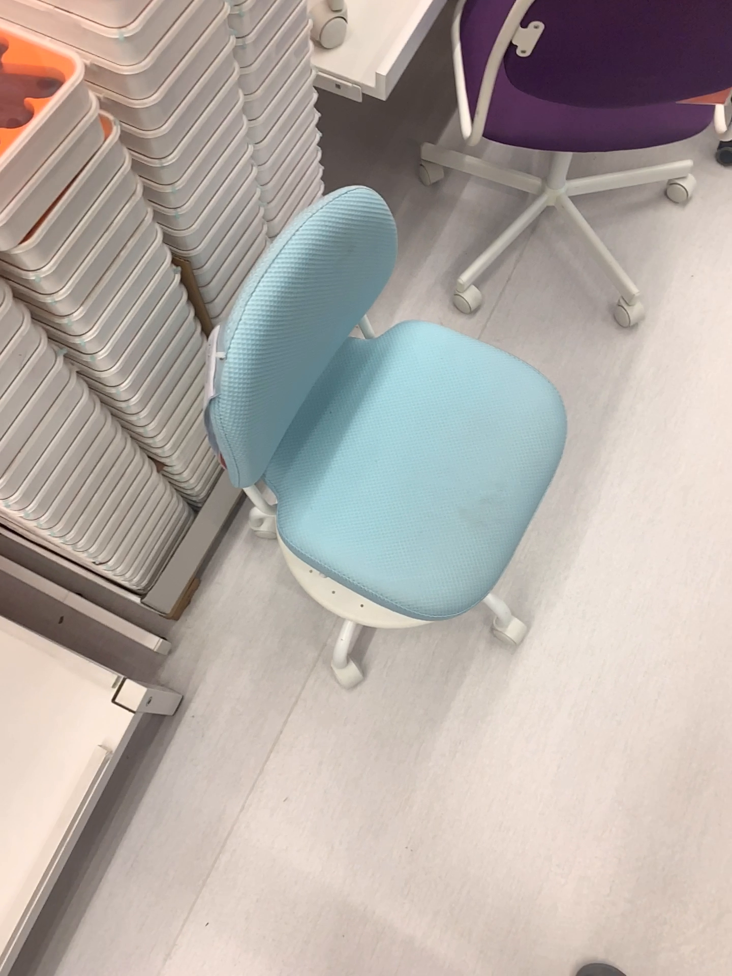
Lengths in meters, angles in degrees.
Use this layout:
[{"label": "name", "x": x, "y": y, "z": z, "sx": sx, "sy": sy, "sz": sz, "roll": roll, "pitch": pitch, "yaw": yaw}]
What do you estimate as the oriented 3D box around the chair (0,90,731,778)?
[{"label": "chair", "x": 0.035, "y": 0.004, "z": 1.130, "sx": 0.610, "sy": 0.750, "sz": 0.570, "roll": 24, "pitch": 74, "yaw": 10}]
